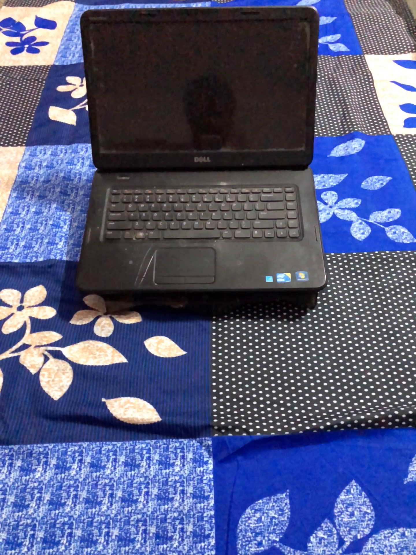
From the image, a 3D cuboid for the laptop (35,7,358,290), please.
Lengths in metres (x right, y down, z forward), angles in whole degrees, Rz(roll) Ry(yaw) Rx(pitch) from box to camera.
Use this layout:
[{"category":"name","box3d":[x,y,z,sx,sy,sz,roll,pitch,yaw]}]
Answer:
[{"category":"laptop","box3d":[-0.011,-0.206,0.695,0.363,0.187,0.391,-1,57,0]}]
